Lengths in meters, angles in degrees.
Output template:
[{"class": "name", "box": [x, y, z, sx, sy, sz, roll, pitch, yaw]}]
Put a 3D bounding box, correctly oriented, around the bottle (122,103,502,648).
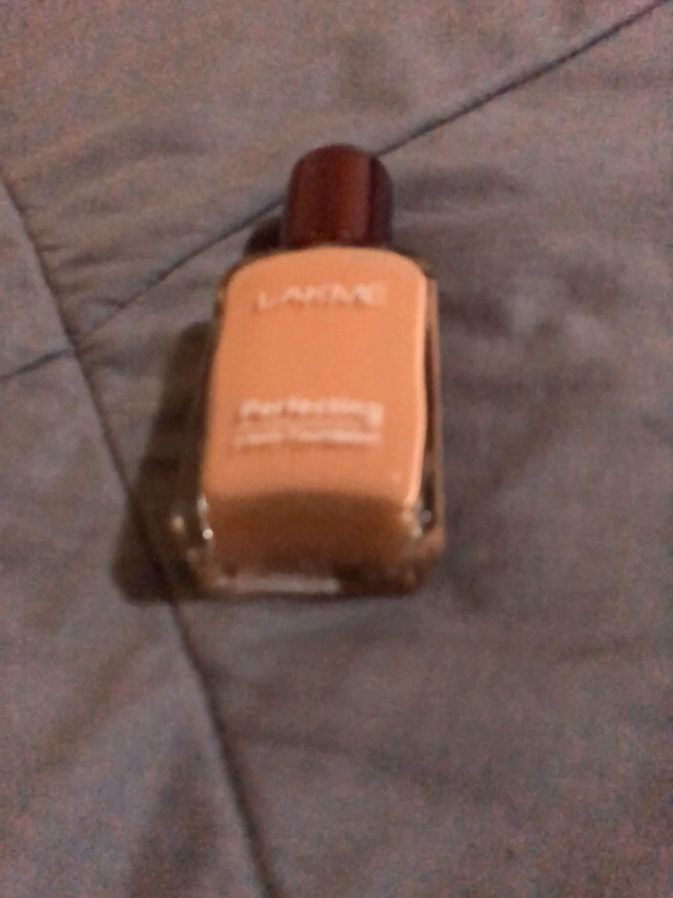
[{"class": "bottle", "box": [0.002, -0.022, 0.142, 0.050, 0.030, 0.110, 1, 53, 6]}]
